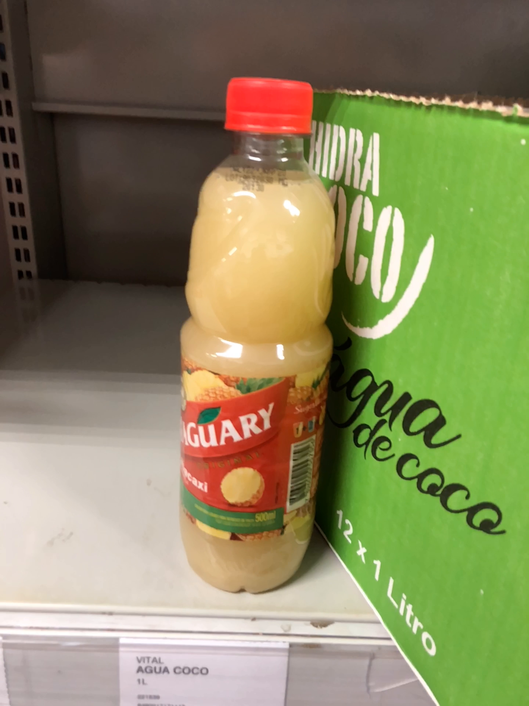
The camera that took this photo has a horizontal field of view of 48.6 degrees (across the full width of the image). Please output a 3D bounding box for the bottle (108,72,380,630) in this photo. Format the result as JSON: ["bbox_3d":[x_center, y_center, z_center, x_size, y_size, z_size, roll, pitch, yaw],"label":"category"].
[{"bbox_3d":[-0.011,0.001,0.243,0.070,0.208,0.060,23,32,36],"label":"bottle"}]
